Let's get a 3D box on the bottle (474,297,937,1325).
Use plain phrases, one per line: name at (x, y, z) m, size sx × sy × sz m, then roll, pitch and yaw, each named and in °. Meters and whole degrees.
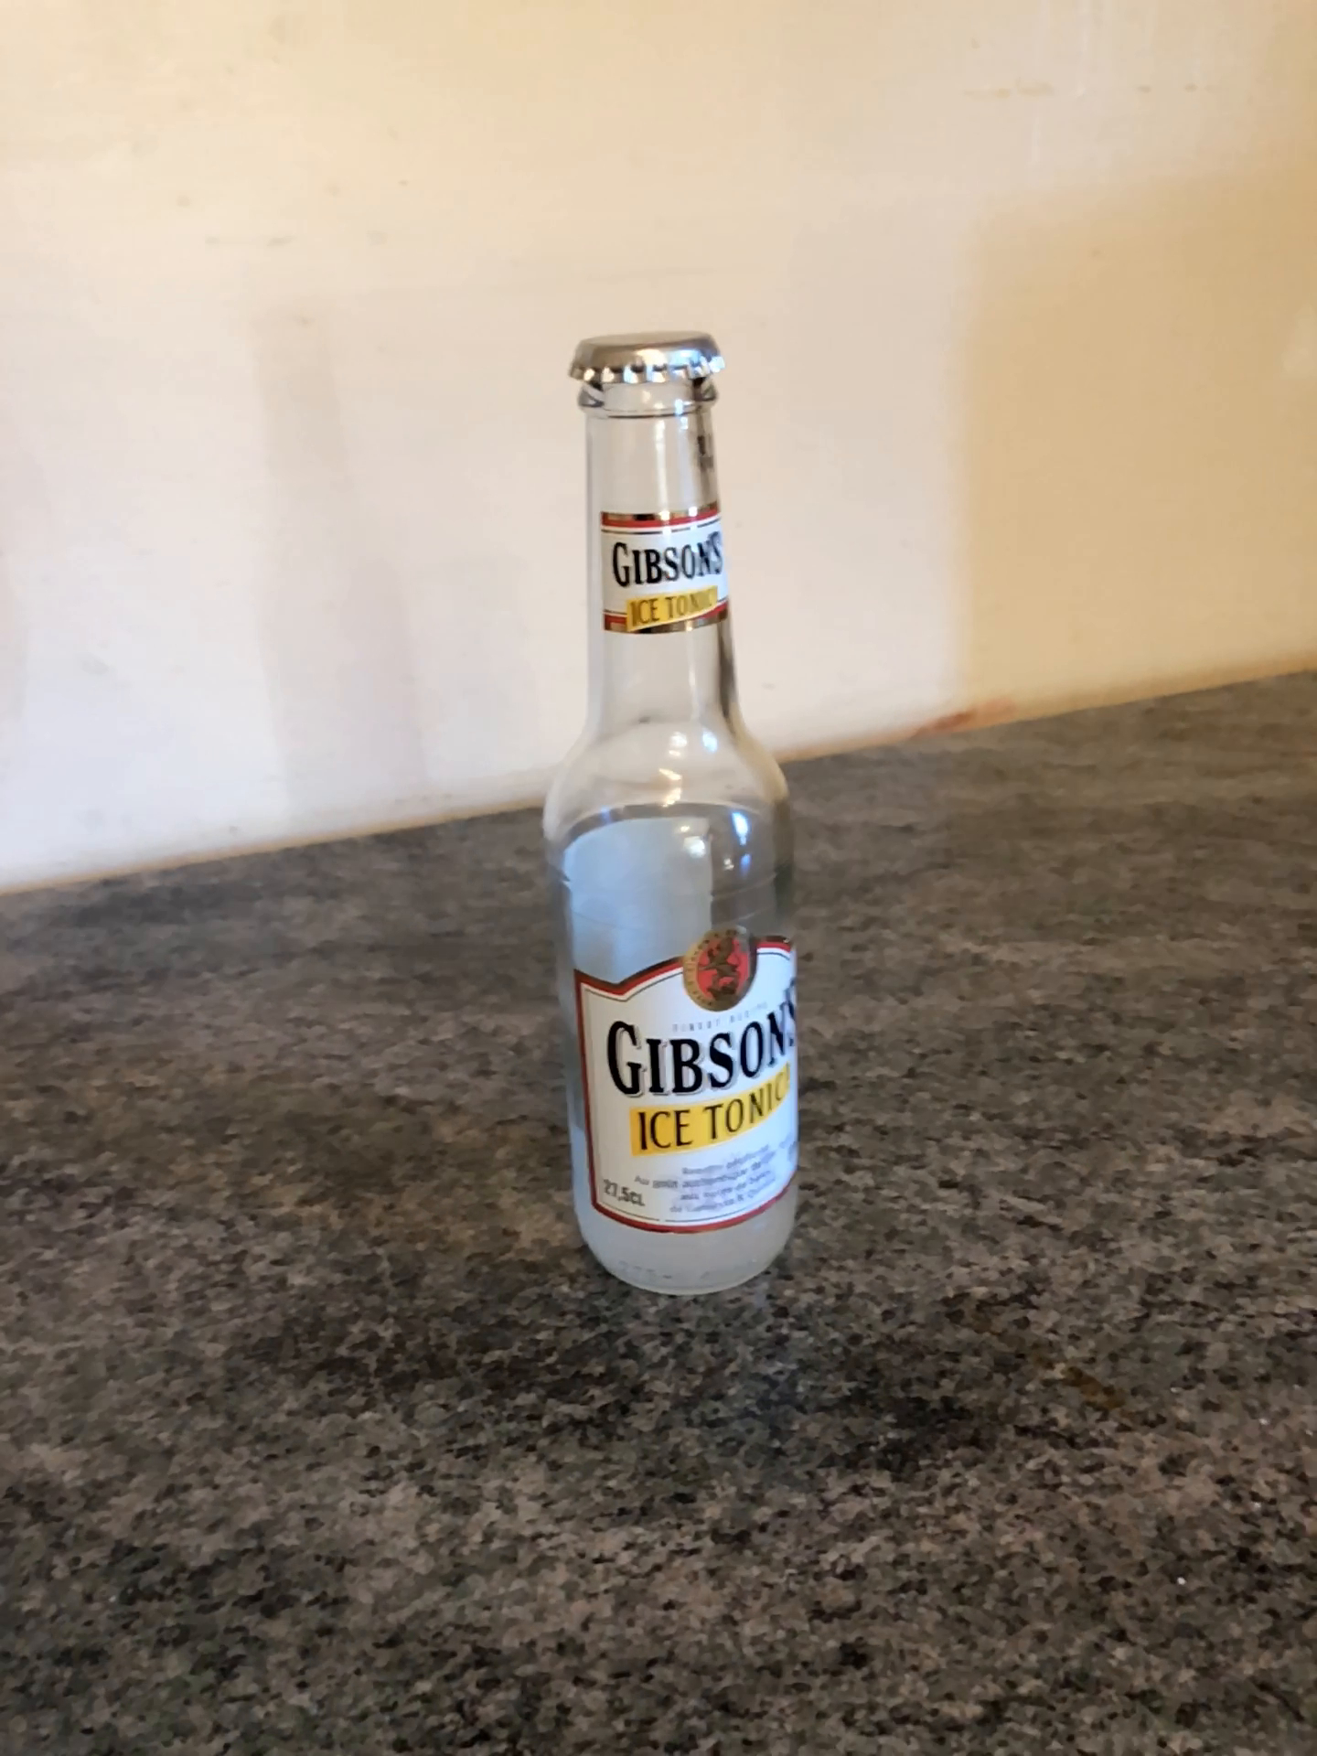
bottle at (0.011, -0.013, 0.322) m, size 0.070 × 0.209 × 0.060 m, roll -12°, pitch 26°, yaw -20°
